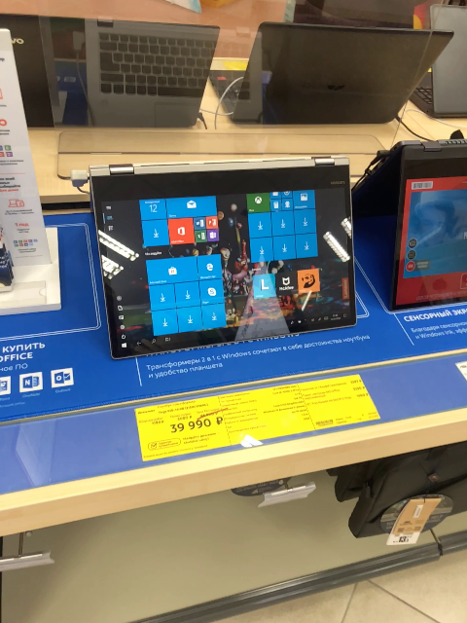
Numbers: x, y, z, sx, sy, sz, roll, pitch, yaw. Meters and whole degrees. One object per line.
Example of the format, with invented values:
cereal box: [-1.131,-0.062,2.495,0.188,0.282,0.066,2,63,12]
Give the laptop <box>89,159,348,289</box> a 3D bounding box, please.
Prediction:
laptop: [-0.048,-0.123,0.815,0.336,0.150,0.211,-6,18,-14]
